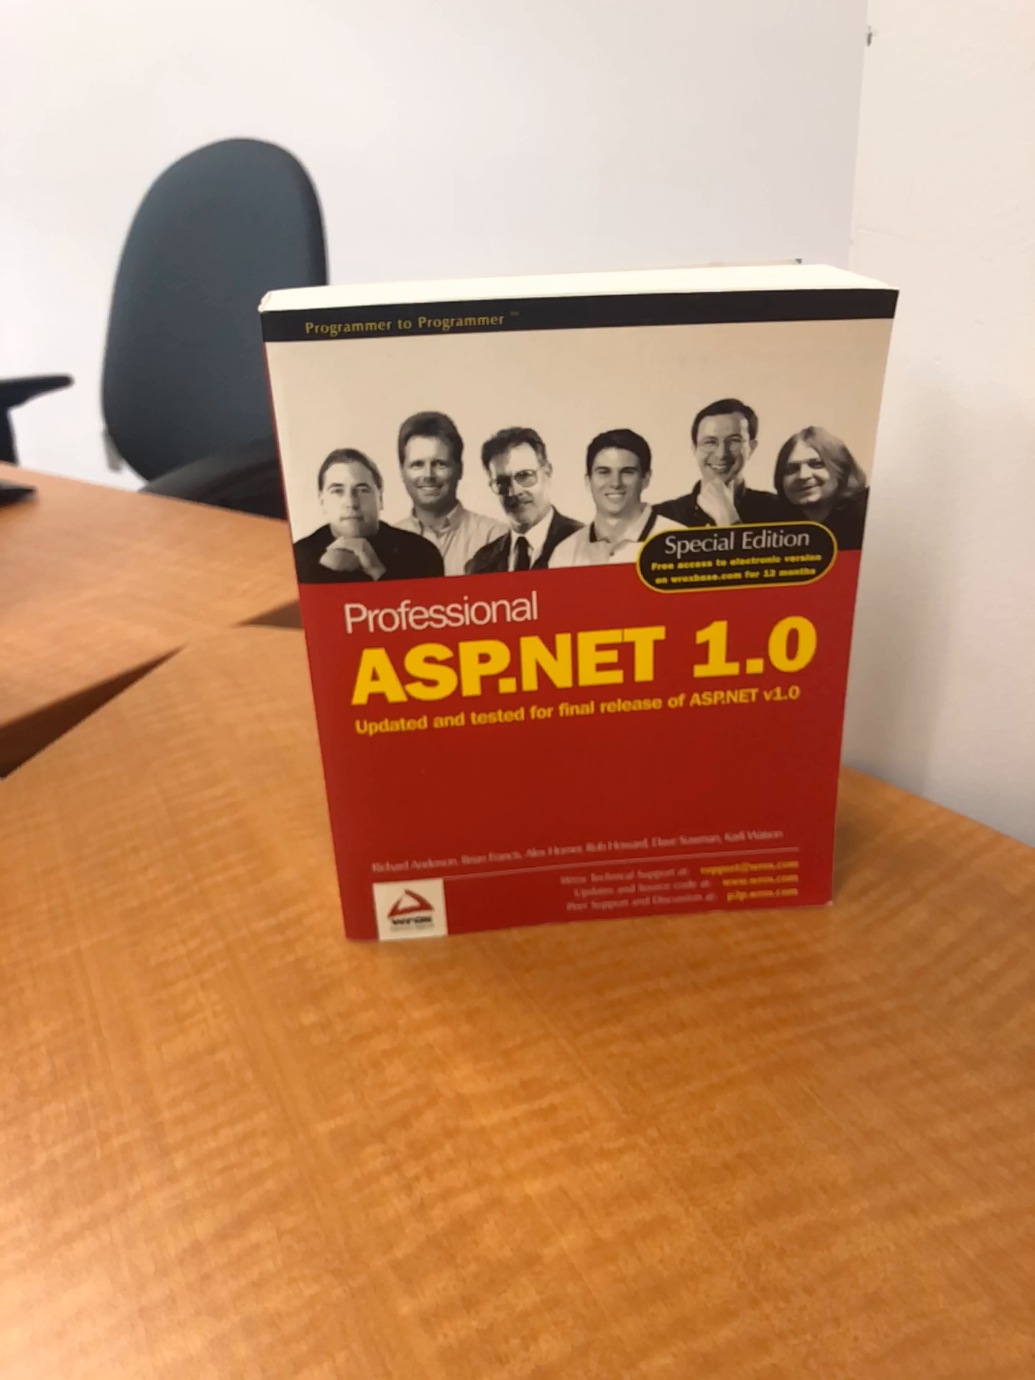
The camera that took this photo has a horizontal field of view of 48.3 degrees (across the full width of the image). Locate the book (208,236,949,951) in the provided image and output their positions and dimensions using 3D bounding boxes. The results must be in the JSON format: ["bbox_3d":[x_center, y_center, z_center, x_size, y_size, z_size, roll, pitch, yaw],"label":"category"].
[{"bbox_3d":[0.021,-0.027,0.396,0.210,0.229,0.050,-4,25,-3],"label":"book"}]
